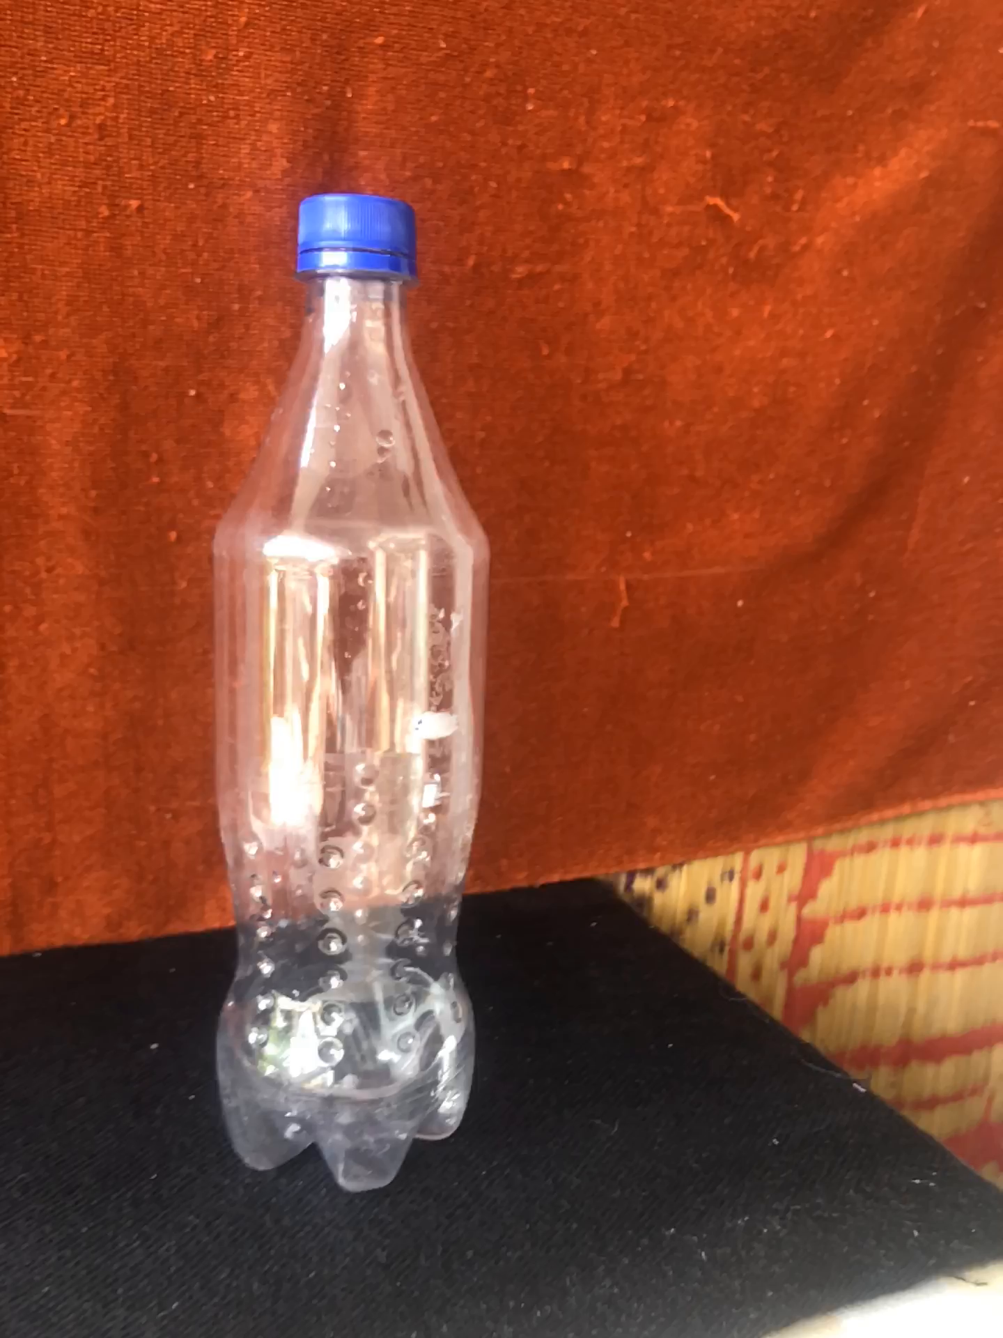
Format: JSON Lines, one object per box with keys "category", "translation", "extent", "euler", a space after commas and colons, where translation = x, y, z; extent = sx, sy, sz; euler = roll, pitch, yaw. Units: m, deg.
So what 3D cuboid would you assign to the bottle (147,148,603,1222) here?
{"category": "bottle", "translation": [-0.032, 0.005, 0.301], "extent": [0.090, 0.249, 0.080], "euler": [6, 14, 10]}
